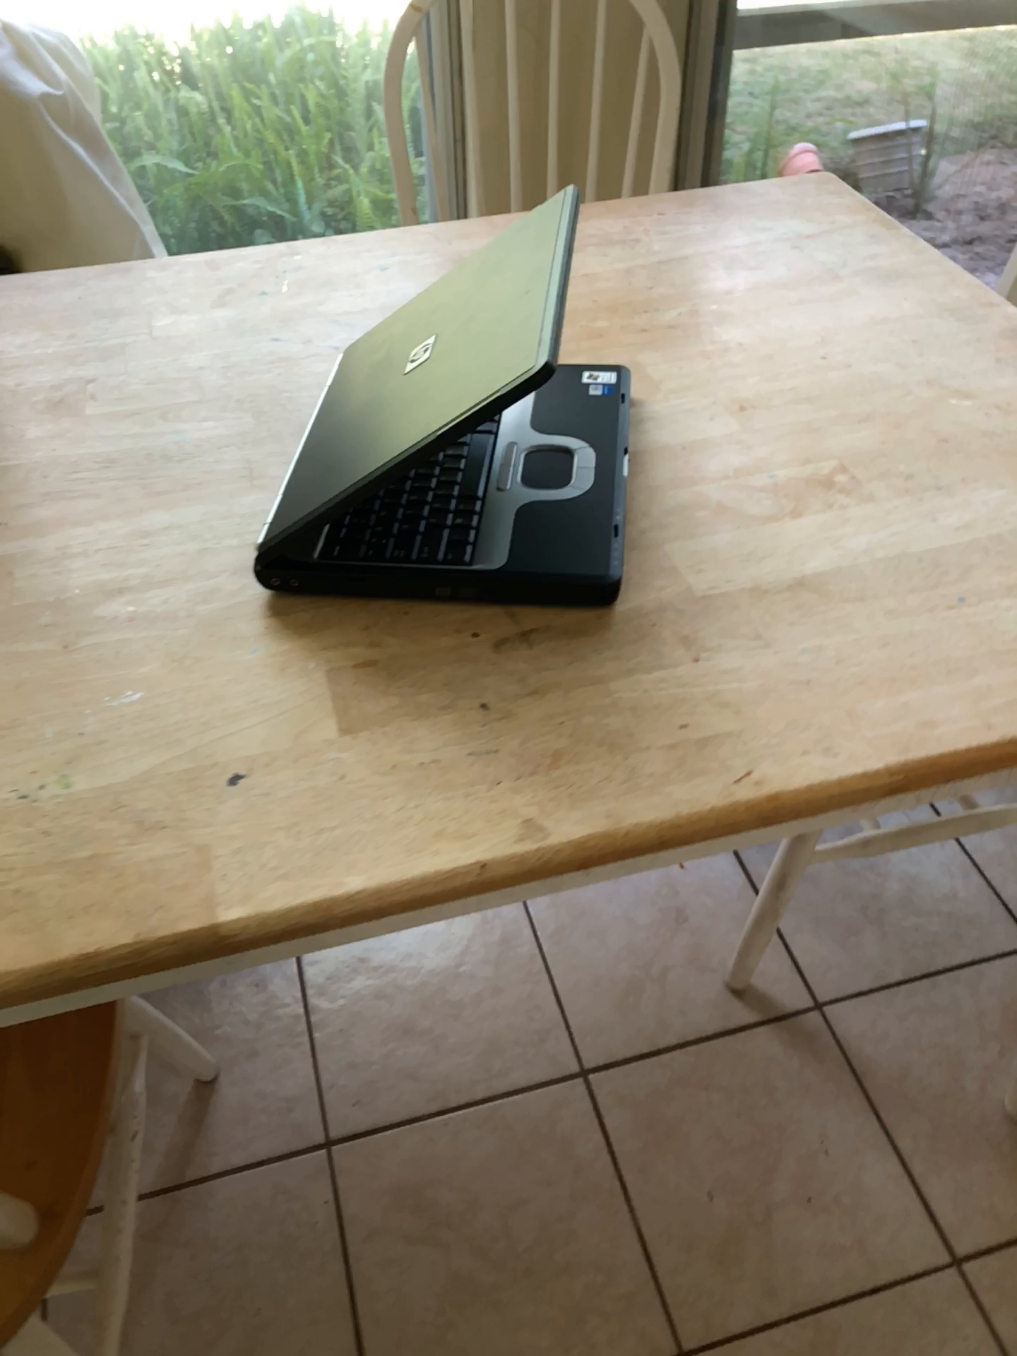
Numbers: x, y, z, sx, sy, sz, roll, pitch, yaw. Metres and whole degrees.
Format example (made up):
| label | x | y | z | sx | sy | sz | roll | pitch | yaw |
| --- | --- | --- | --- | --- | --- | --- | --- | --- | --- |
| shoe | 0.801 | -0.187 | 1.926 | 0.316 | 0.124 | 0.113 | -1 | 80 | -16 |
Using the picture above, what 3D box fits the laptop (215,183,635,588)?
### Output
| label | x | y | z | sx | sy | sz | roll | pitch | yaw |
| --- | --- | --- | --- | --- | --- | --- | --- | --- | --- |
| laptop | -0.040 | -0.231 | 0.843 | 0.255 | 0.162 | 0.307 | 2 | 43 | 6 |
